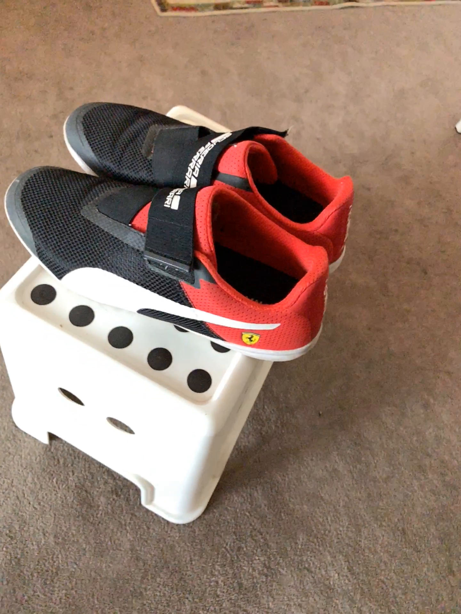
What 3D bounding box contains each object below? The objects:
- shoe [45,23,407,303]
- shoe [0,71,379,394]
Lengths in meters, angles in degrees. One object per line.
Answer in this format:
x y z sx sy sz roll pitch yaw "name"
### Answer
-0.007 -0.134 0.443 0.300 0.089 0.101 29 60 5 "shoe"
-0.052 -0.059 0.379 0.300 0.089 0.111 26 60 3 "shoe"
